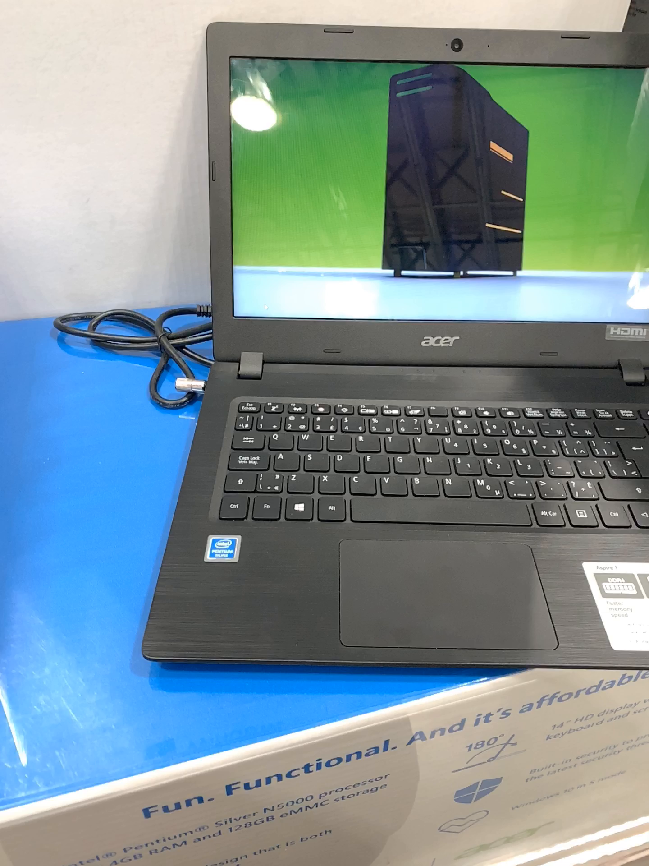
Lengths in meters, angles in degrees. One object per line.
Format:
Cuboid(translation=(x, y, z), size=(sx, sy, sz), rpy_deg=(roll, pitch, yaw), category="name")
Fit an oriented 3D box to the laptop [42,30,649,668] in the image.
Cuboid(translation=(0.084, -0.076, 0.361), size=(0.318, 0.186, 0.329), rpy_deg=(1, 41, 0), category="laptop")
